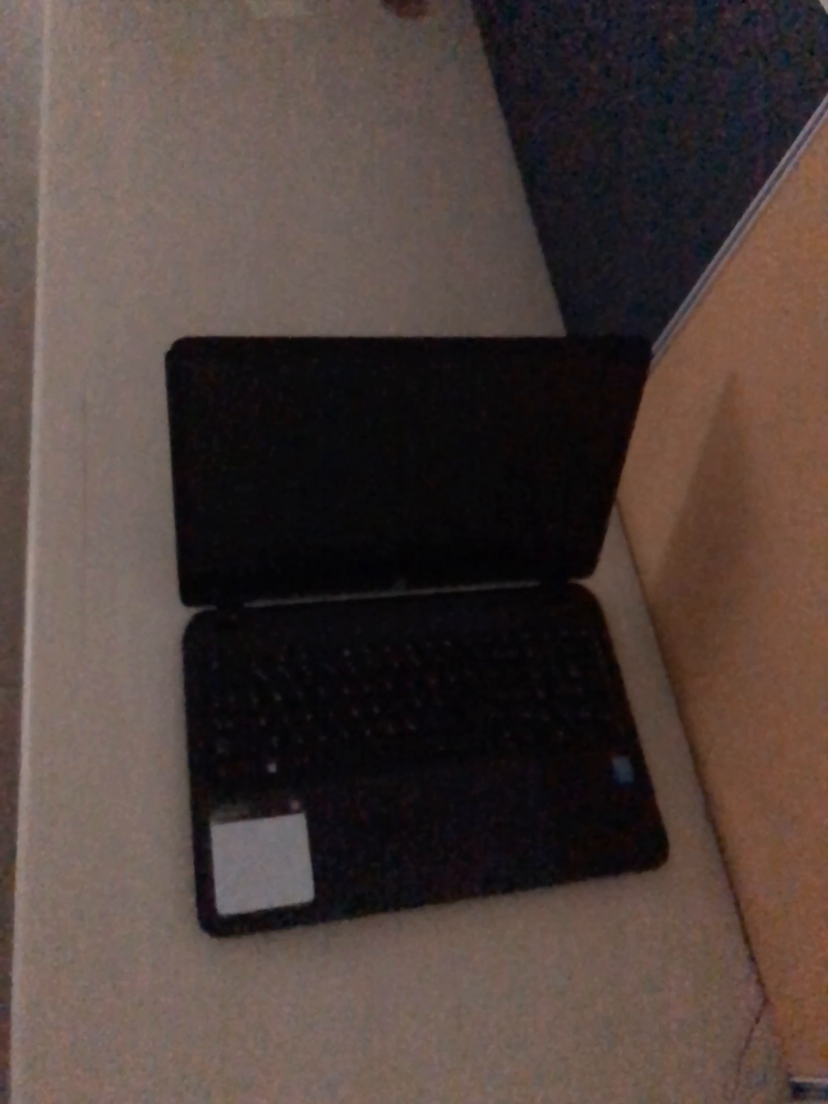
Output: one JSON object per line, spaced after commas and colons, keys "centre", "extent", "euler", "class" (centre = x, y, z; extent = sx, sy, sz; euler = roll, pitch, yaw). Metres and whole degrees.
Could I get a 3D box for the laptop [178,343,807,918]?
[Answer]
{"centre": [0.016, 0.048, 0.683], "extent": [0.356, 0.205, 0.352], "euler": [-3, 62, -14], "class": "laptop"}
